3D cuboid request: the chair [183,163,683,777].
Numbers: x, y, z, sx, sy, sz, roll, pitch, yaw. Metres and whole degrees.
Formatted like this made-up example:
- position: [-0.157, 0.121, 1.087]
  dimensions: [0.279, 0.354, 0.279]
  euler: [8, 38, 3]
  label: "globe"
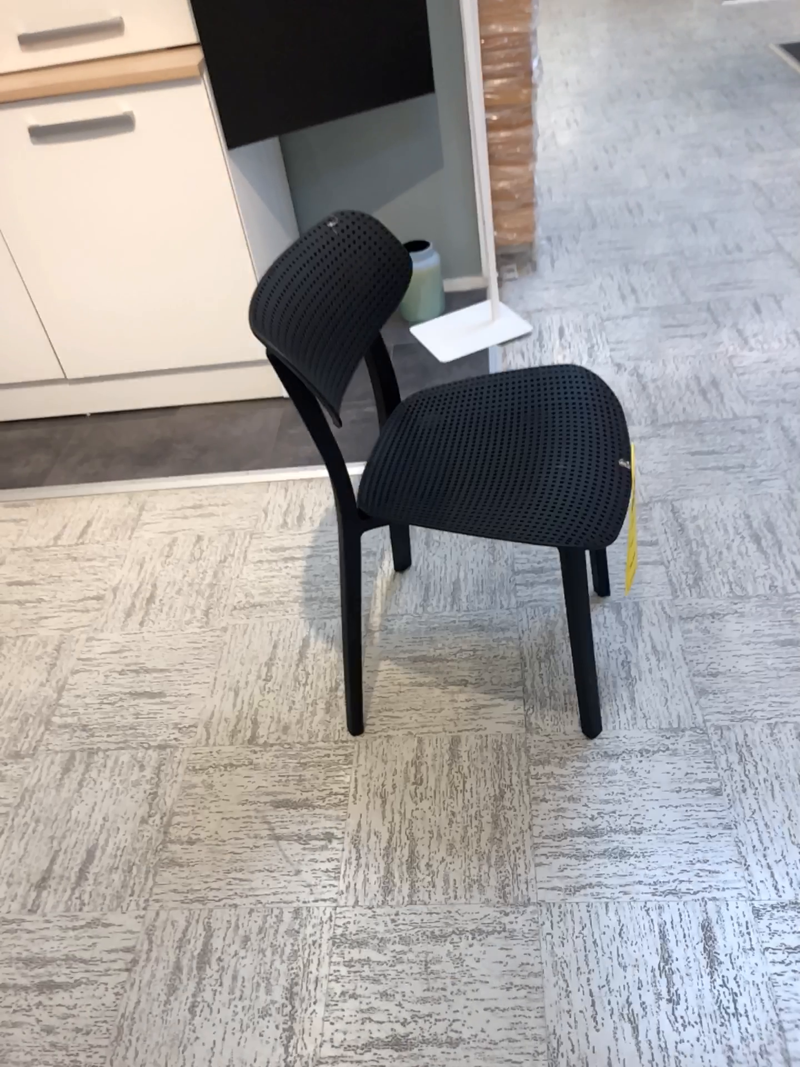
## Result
- position: [0.114, -0.091, 1.310]
  dimensions: [0.520, 0.686, 0.544]
  euler: [1, 41, 13]
  label: "chair"
